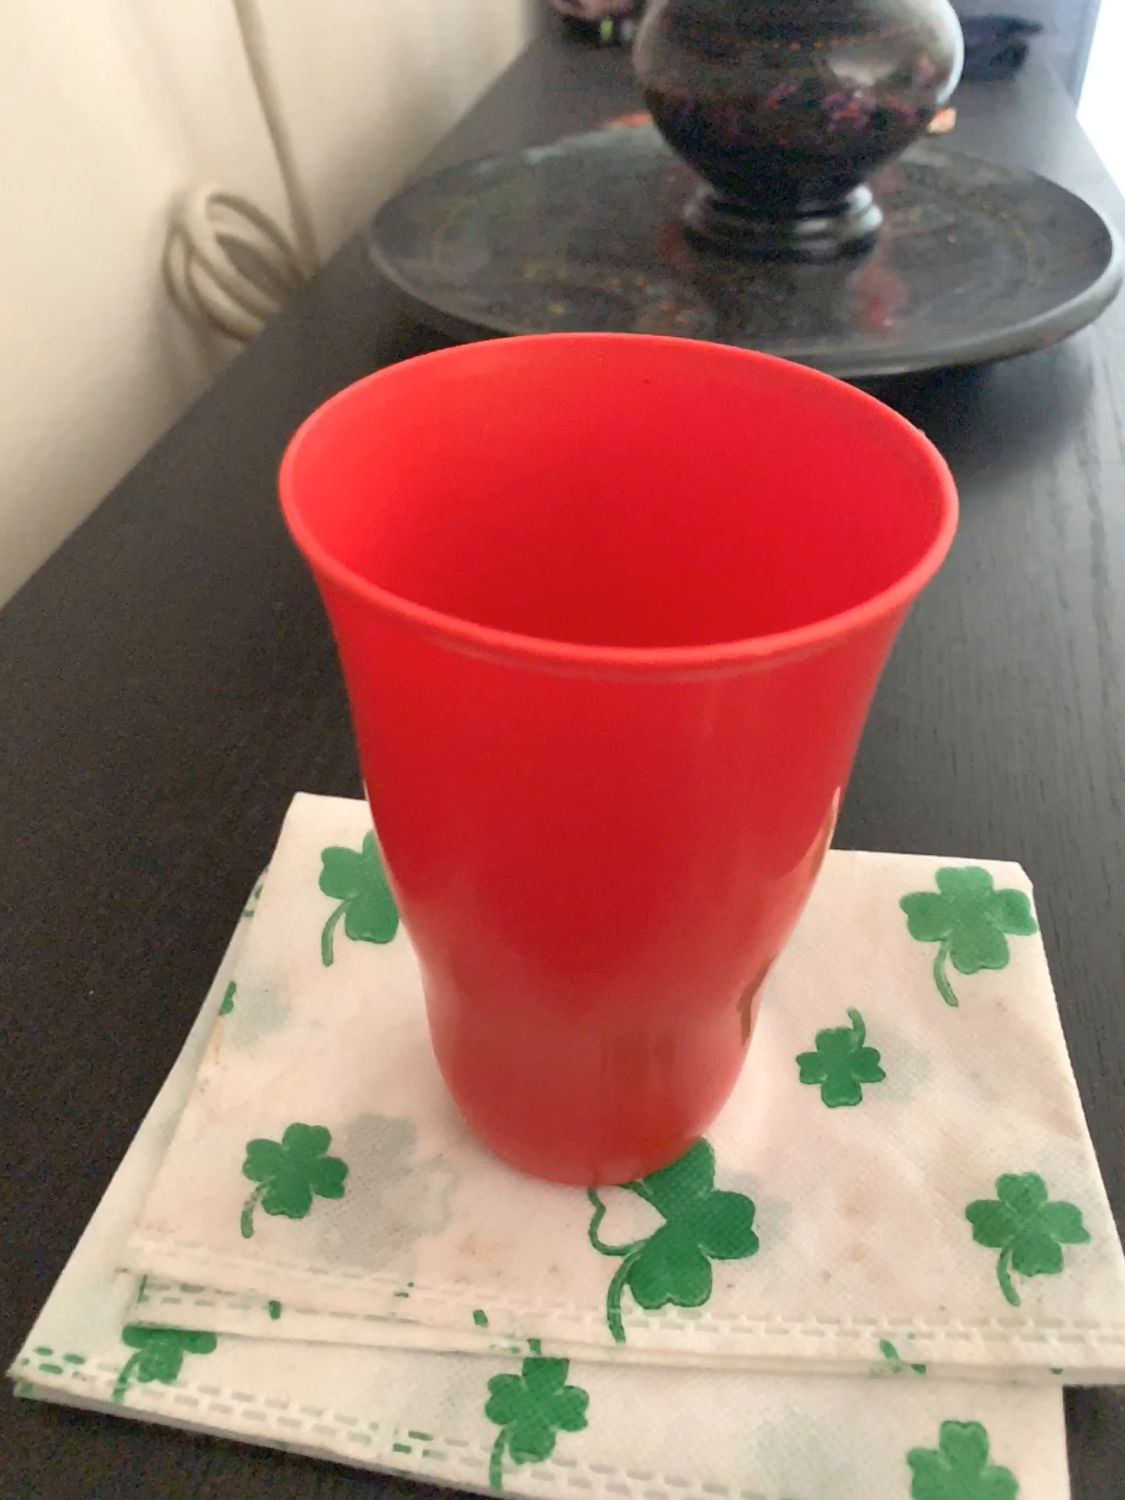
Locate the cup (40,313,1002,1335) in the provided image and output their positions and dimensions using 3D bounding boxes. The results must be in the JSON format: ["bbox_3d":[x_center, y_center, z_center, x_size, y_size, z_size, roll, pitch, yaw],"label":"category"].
[{"bbox_3d":[0.002,0.004,0.160,0.082,0.091,0.080,0,39,0],"label":"cup"}]
